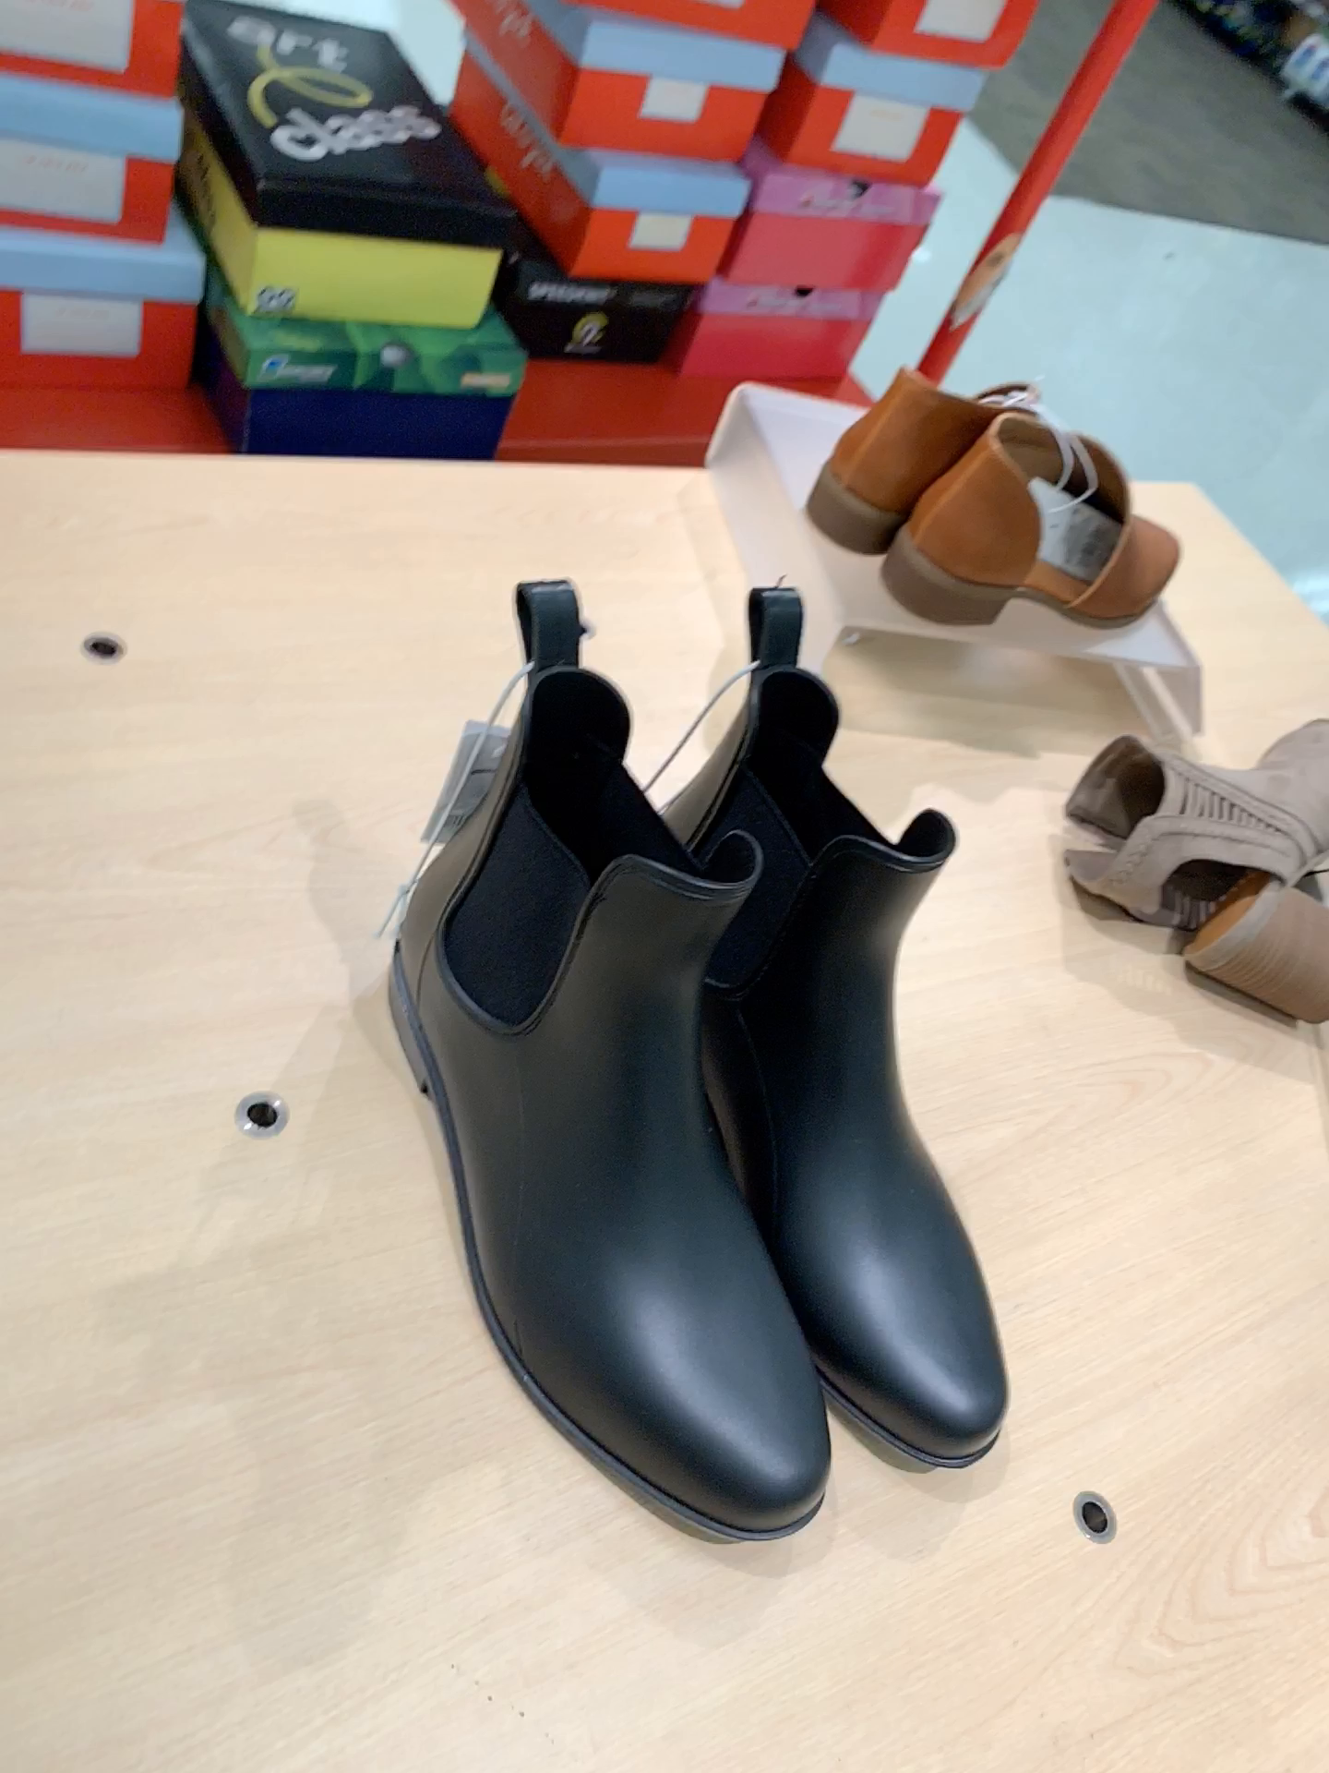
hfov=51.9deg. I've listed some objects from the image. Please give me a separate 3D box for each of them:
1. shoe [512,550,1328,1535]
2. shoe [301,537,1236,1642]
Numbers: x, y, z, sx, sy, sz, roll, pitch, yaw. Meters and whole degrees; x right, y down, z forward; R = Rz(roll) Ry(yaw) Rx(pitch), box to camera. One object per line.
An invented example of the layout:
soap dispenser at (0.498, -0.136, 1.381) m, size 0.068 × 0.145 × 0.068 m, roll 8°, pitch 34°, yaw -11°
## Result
shoe at (0.076, 0.051, 0.507) m, size 0.100 × 0.199 × 0.286 m, roll -14°, pitch 59°, yaw -34°
shoe at (0.001, 0.060, 0.460) m, size 0.113 × 0.201 × 0.286 m, roll -14°, pitch 59°, yaw -34°
